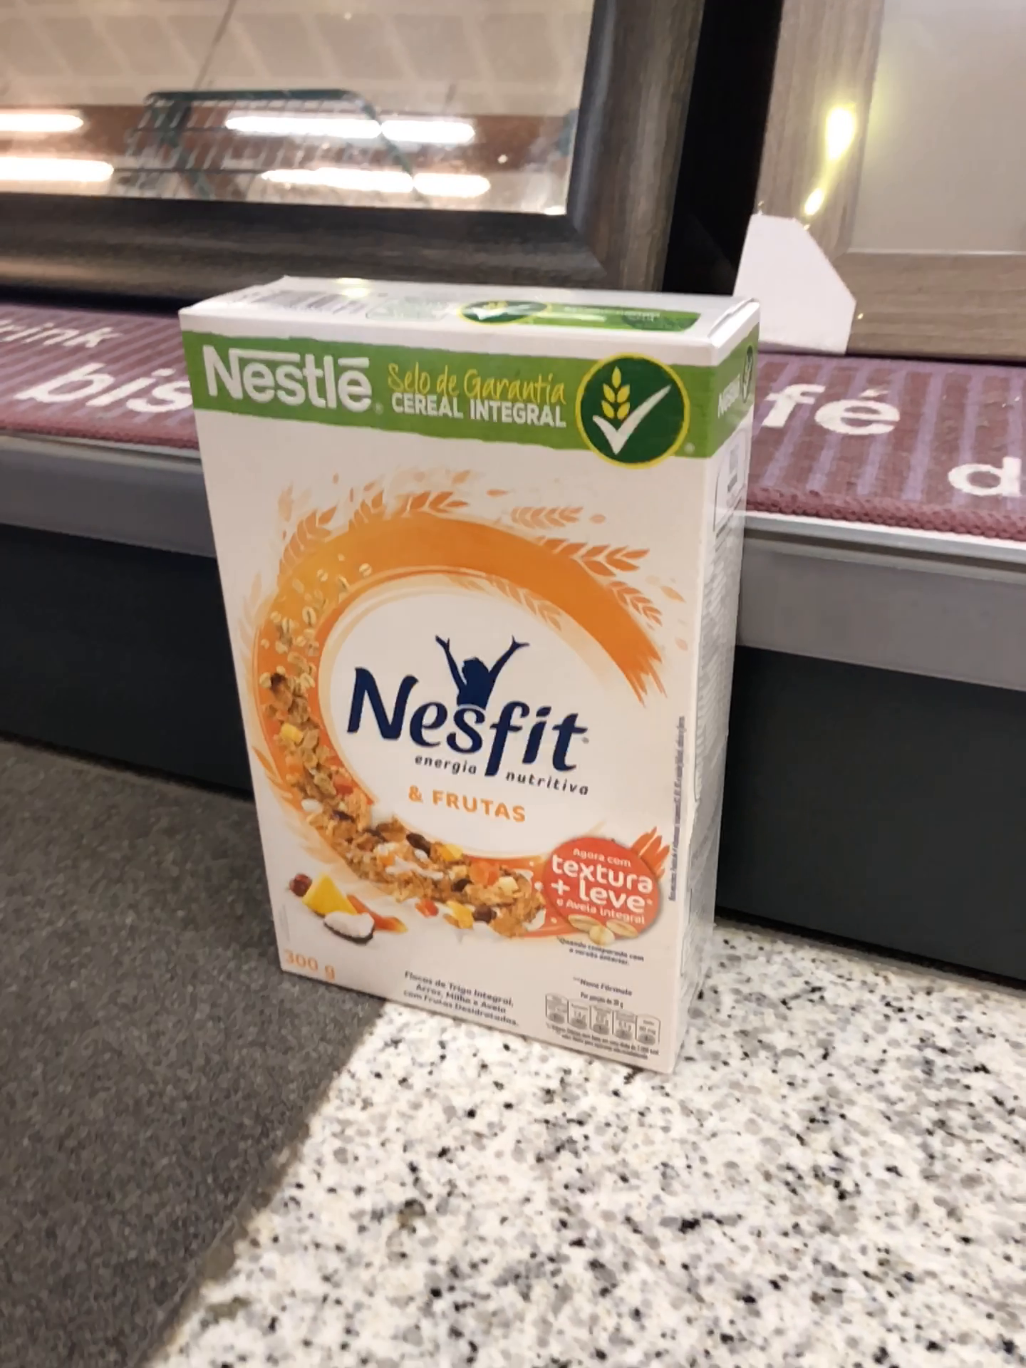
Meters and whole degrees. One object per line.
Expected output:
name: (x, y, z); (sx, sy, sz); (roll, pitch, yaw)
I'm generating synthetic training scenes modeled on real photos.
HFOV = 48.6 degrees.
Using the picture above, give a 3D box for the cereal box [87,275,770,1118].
cereal box: (-0.018, 0.008, 0.361); (0.170, 0.248, 0.060); (8, 32, 18)
